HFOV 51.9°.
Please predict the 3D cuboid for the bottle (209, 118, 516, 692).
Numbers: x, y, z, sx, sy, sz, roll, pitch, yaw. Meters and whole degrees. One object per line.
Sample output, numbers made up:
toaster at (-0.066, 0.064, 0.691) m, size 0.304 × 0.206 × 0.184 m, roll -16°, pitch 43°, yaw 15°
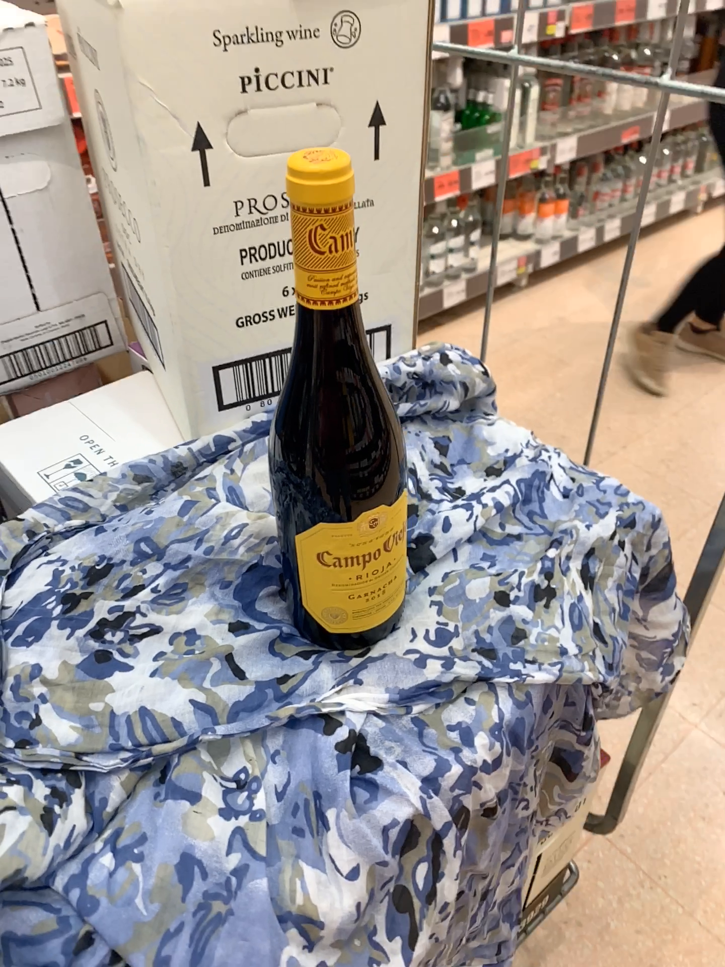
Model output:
bottle at (-0.001, -0.028, 0.386) m, size 0.090 × 0.270 × 0.091 m, roll 0°, pitch 38°, yaw 0°
